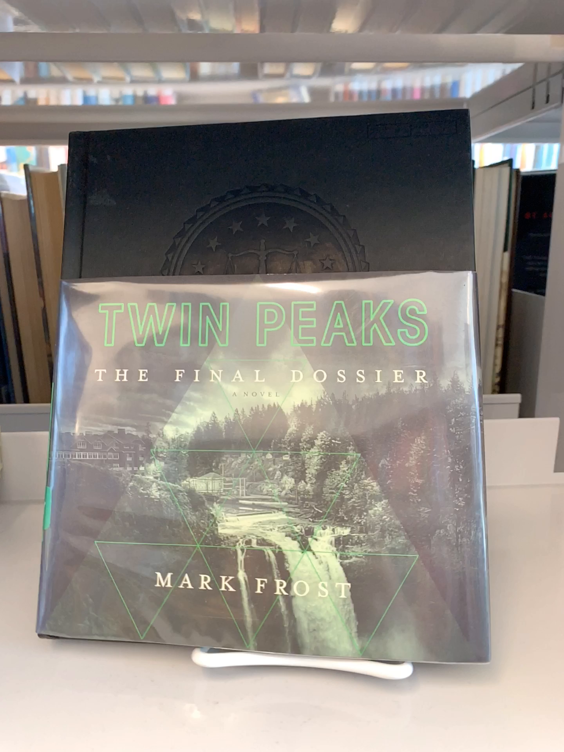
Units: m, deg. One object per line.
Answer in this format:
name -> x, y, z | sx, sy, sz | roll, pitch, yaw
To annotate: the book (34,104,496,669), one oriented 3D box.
book -> -0.008, -0.001, 0.258 | 0.190, 0.227, 0.020 | 1, -6, 8
